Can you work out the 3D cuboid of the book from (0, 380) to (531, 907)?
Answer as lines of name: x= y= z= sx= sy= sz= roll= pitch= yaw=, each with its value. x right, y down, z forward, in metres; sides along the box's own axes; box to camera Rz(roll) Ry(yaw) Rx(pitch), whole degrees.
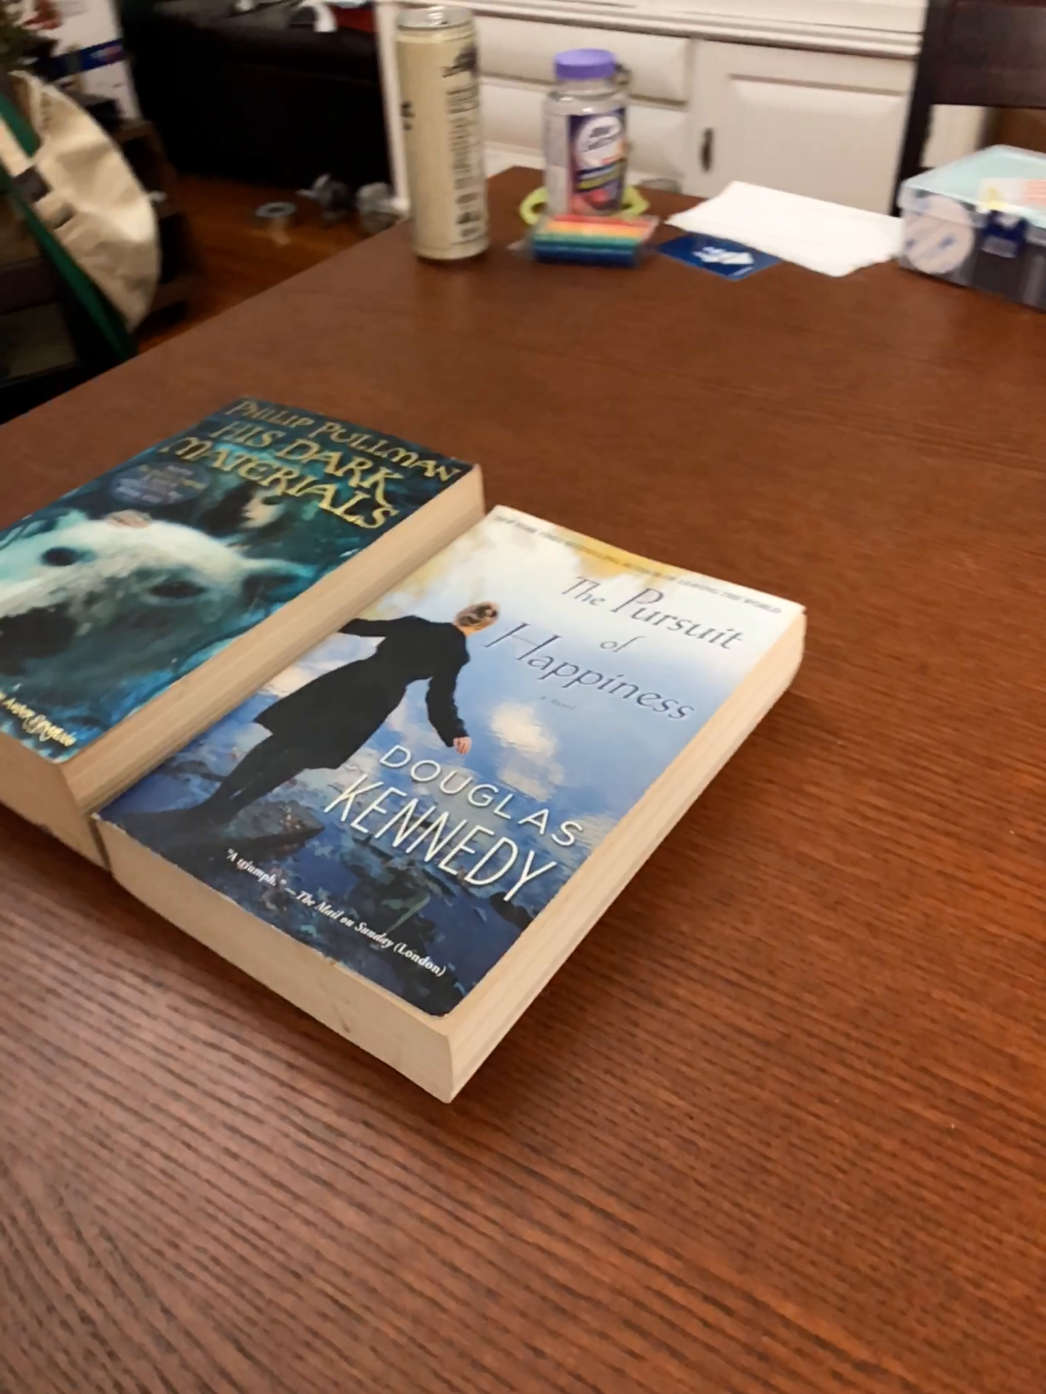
book: x=-0.143 y=-0.047 z=0.504 sx=0.180 sy=0.050 sz=0.251 roll=24 pitch=47 yaw=28

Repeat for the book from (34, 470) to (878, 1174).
book: x=-0.010 y=0.013 z=0.418 sx=0.180 sy=0.040 sz=0.251 roll=24 pitch=47 yaw=28
